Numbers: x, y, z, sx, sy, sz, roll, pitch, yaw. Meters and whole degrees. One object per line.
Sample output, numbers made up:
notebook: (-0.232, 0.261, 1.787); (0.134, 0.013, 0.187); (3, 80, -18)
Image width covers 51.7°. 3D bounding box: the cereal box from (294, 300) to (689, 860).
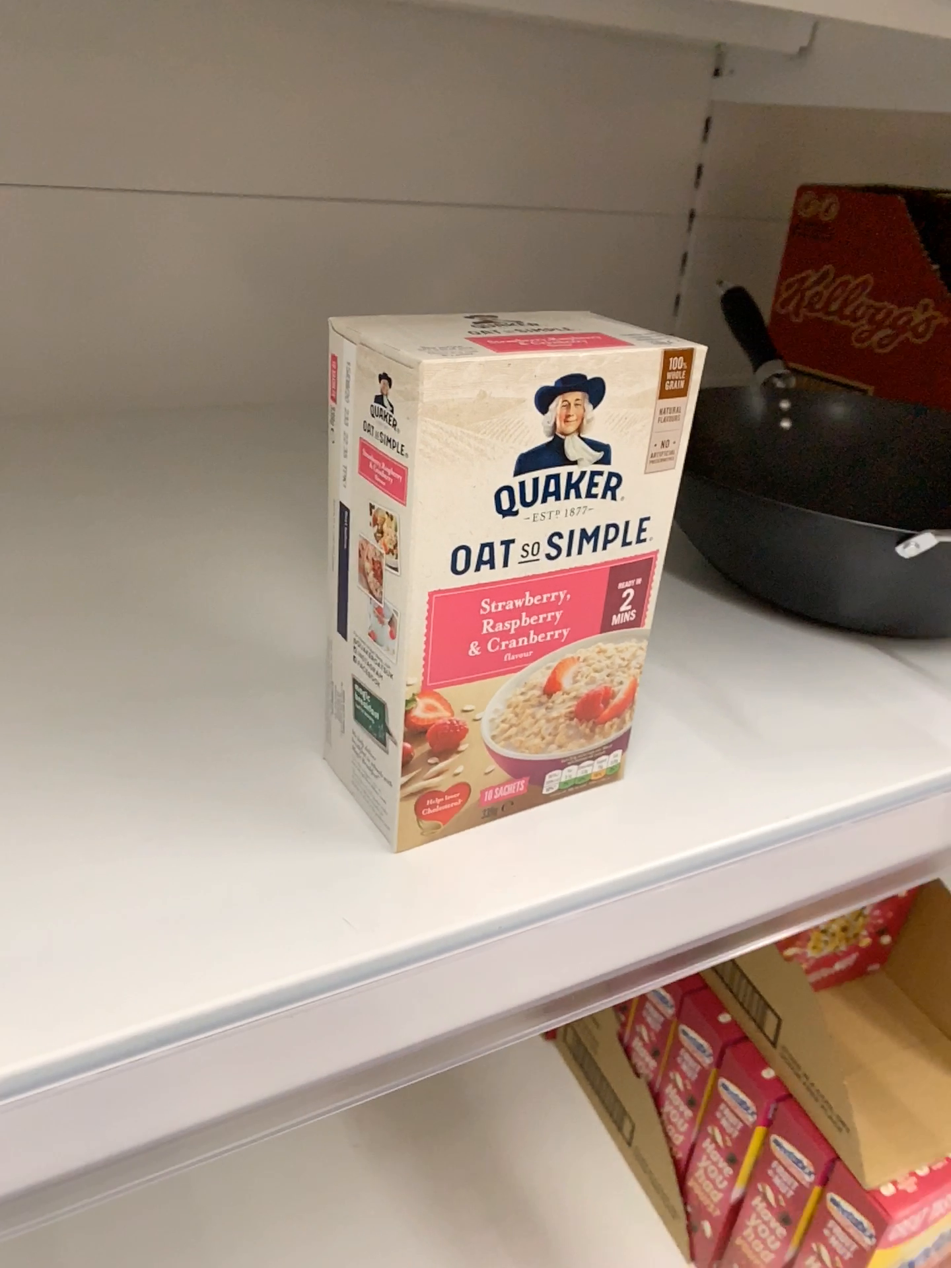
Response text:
cereal box: (-0.002, -0.028, 0.425); (0.130, 0.208, 0.080); (-12, 32, -31)
